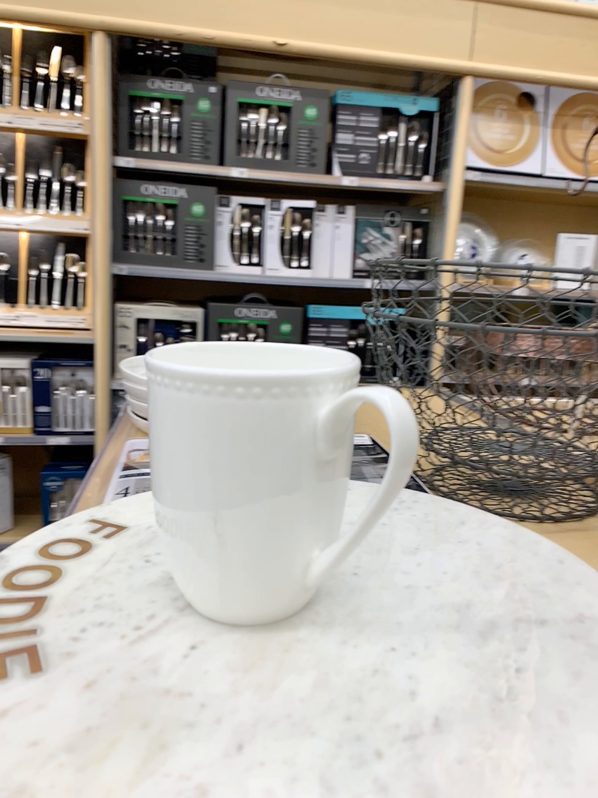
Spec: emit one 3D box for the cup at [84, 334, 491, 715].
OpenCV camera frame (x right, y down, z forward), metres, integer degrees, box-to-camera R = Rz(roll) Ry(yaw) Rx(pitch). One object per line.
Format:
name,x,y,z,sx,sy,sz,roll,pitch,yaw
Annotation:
cup,-0.008,0.030,0.246,0.125,0.094,0.096,12,15,38
